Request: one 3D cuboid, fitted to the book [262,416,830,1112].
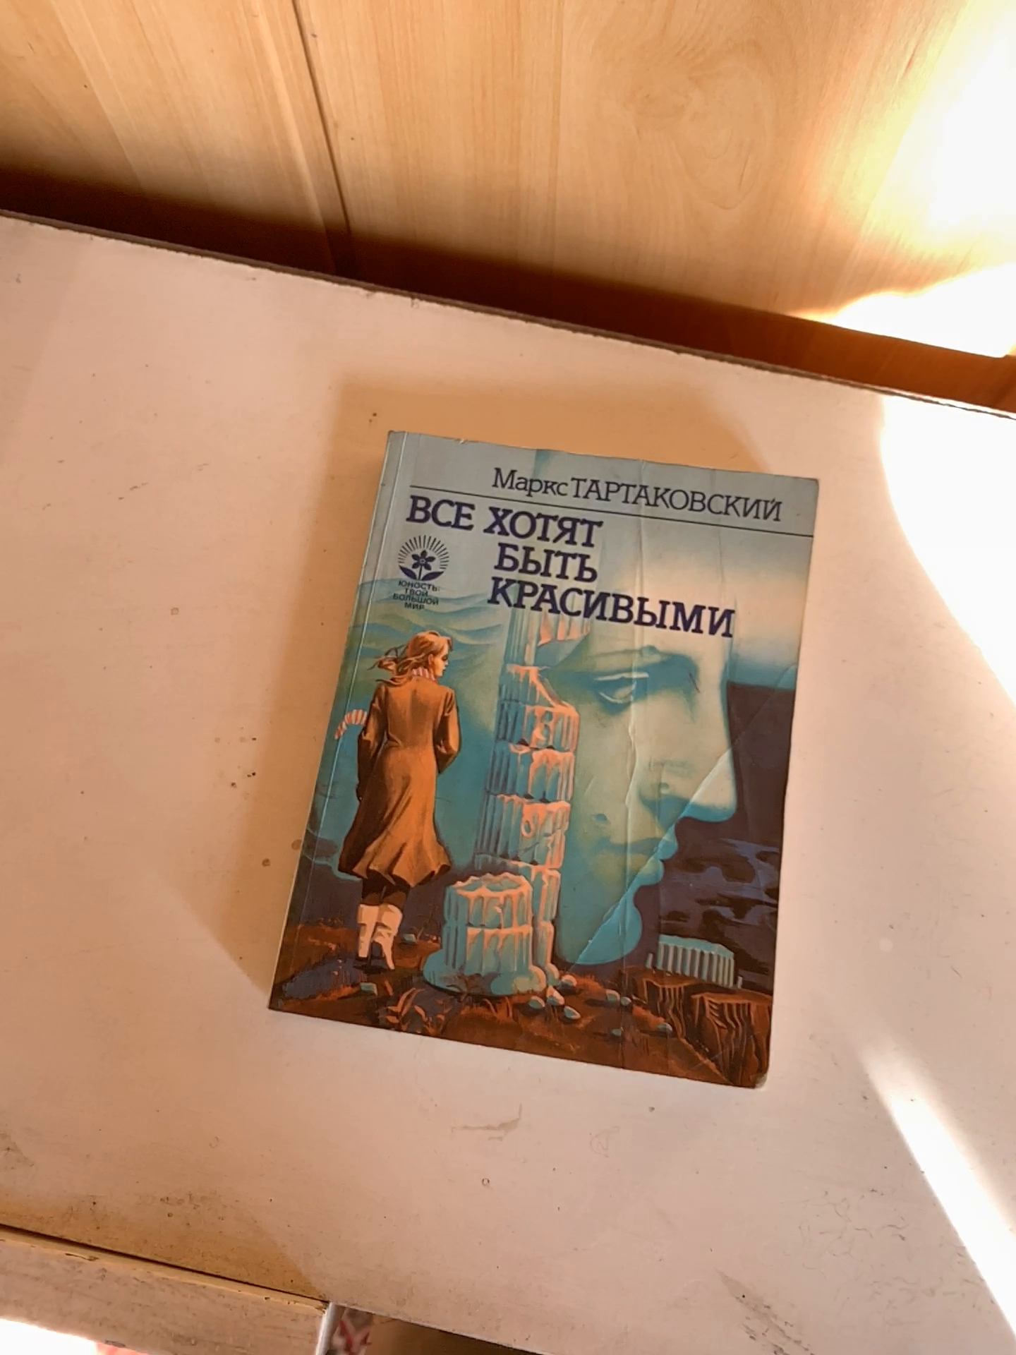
[{"bbox_3d":[0.014,0.015,0.268,0.120,0.013,0.160,7,75,5],"label":"book"}]
